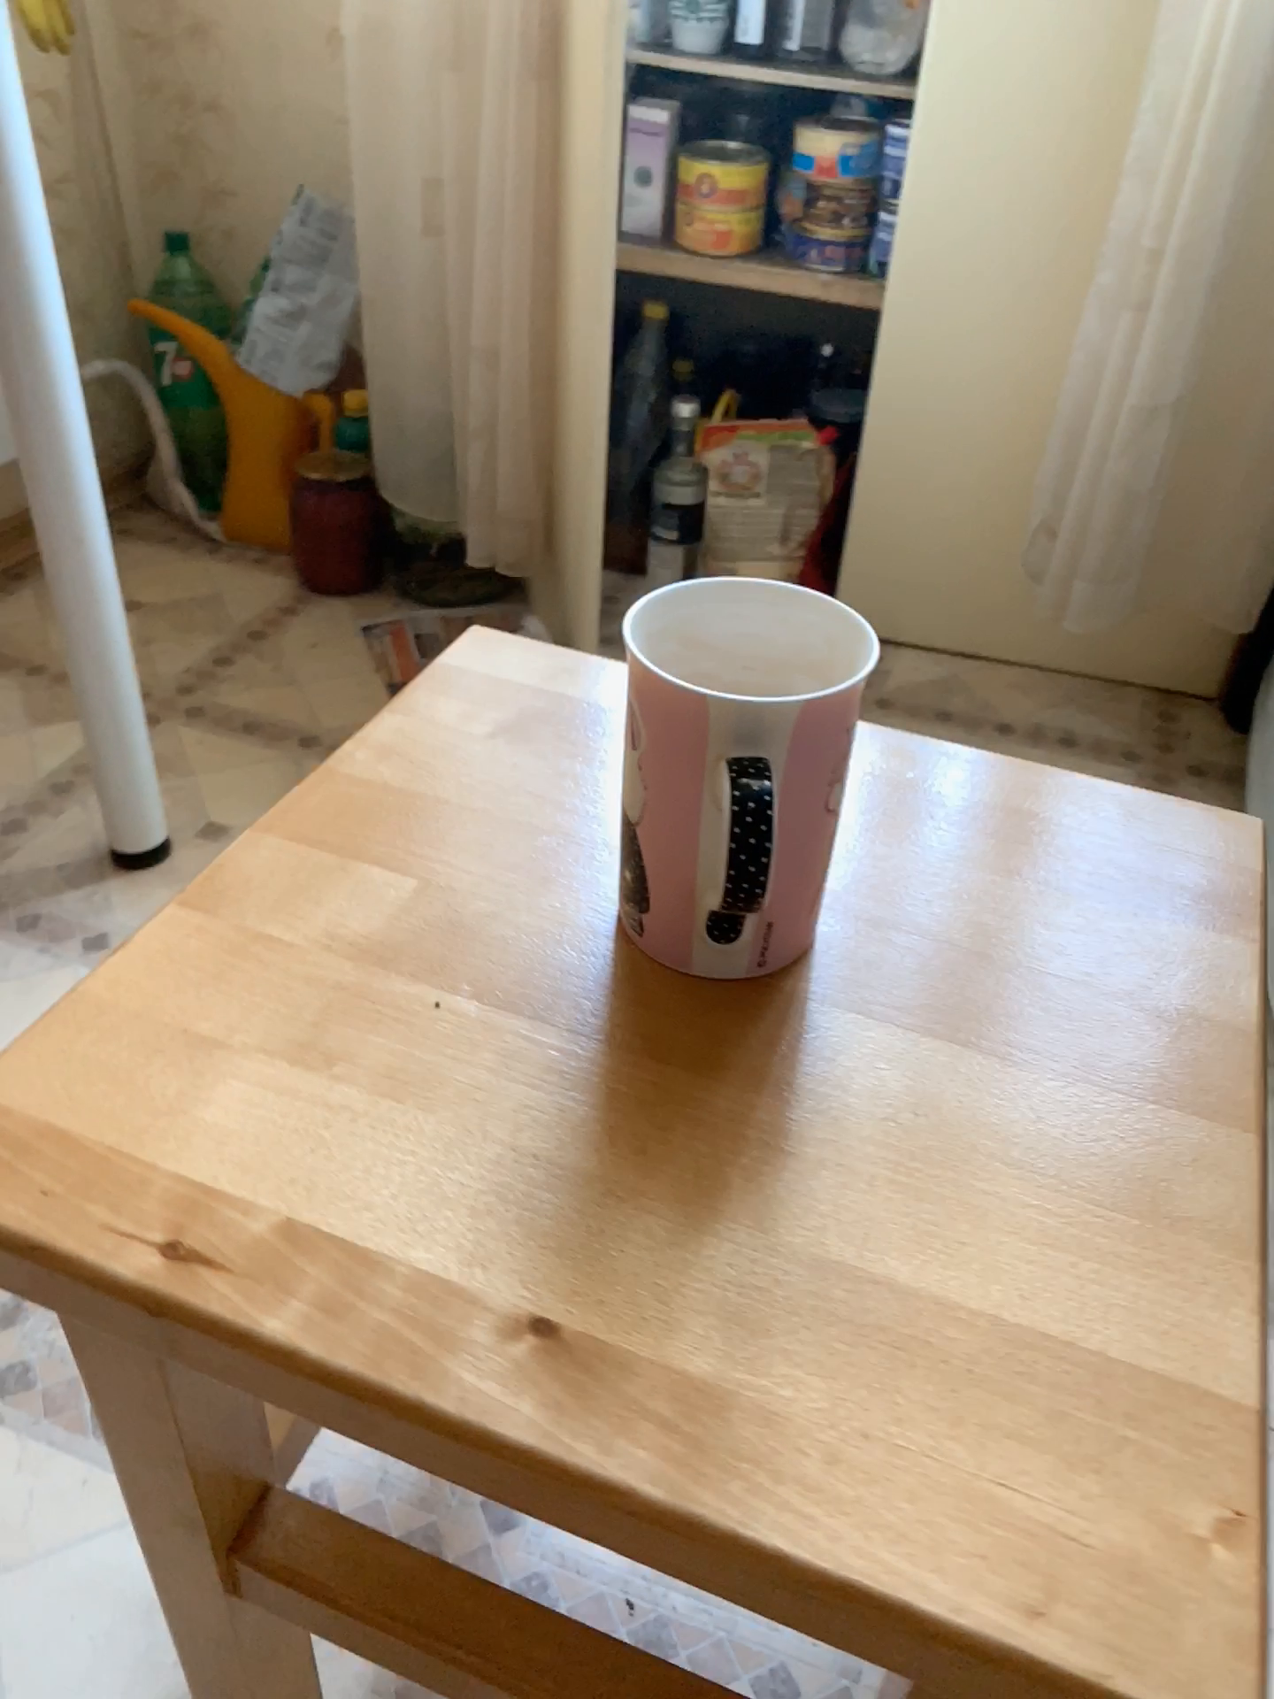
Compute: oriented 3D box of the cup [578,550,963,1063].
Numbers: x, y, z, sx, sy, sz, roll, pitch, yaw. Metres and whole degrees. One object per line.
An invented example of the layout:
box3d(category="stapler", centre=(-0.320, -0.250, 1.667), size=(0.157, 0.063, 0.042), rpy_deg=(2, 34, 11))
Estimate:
box3d(category="cup", centre=(0.029, -0.018, 0.390), size=(0.080, 0.099, 0.121), rpy_deg=(-2, 37, -8))
